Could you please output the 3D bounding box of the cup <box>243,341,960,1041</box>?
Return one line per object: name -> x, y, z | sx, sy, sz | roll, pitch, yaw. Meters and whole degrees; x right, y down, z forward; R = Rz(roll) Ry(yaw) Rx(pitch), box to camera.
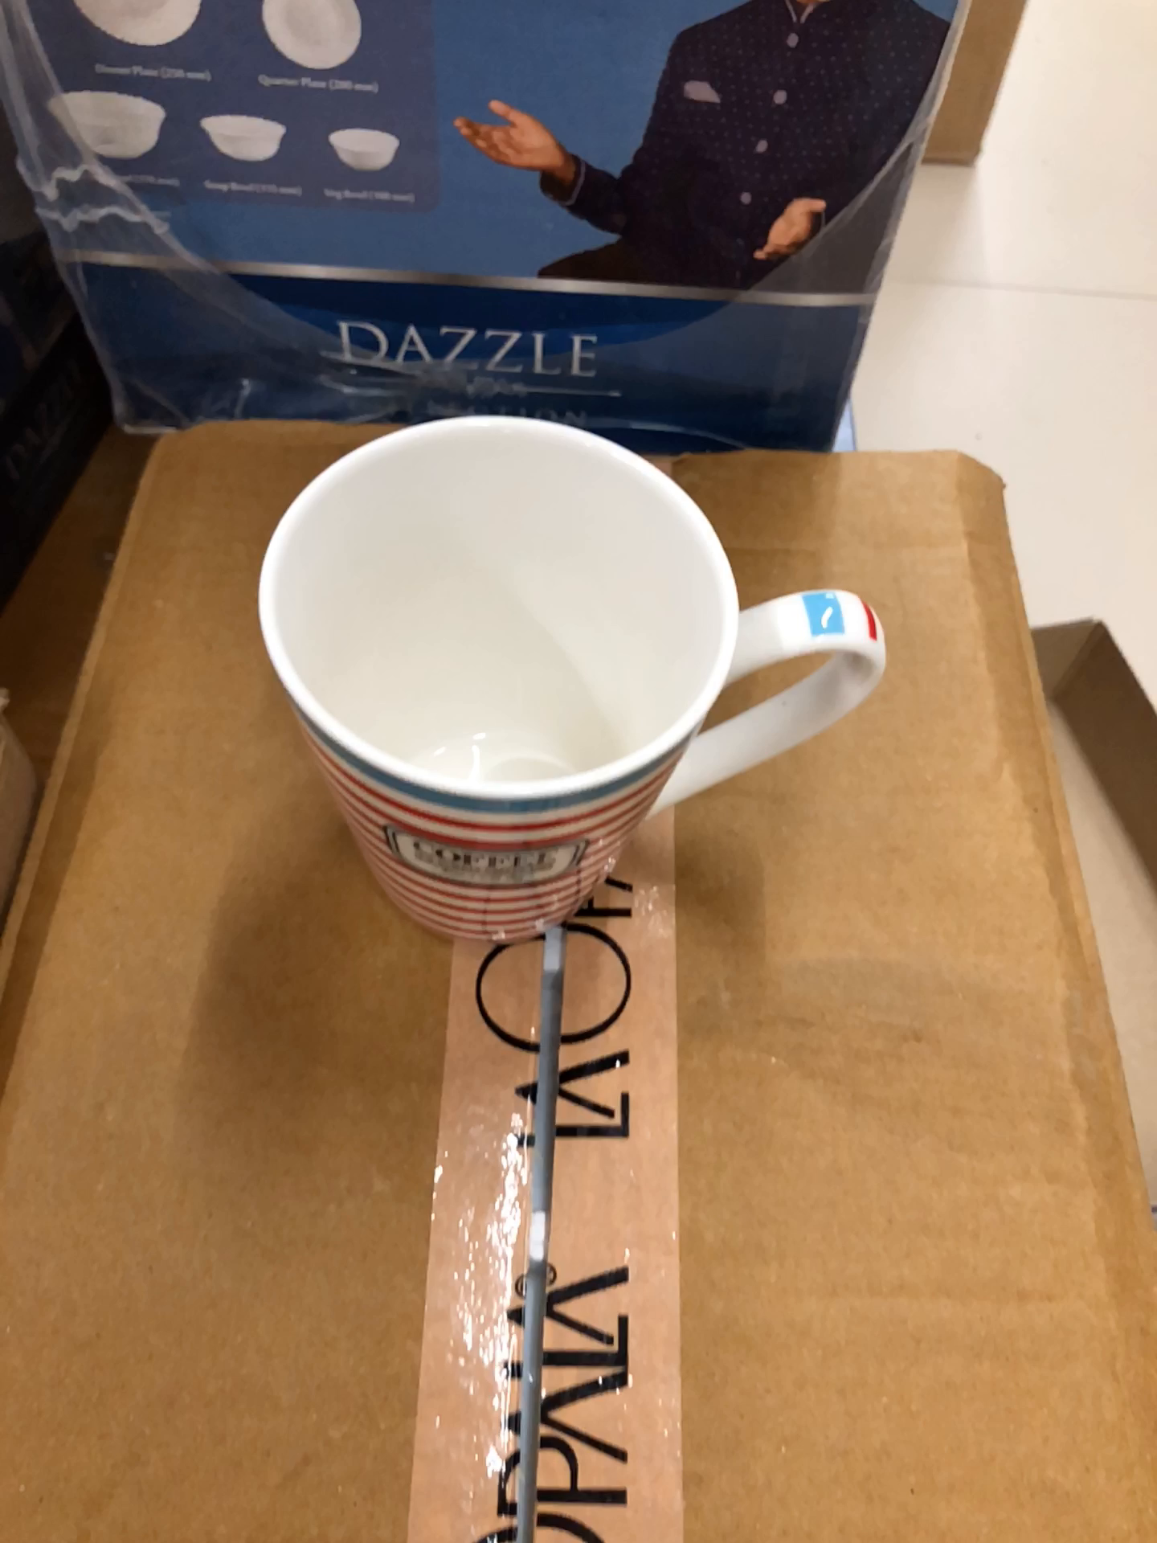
cup -> -0.003, -0.014, 0.264 | 0.110, 0.099, 0.090 | -6, 56, -8
